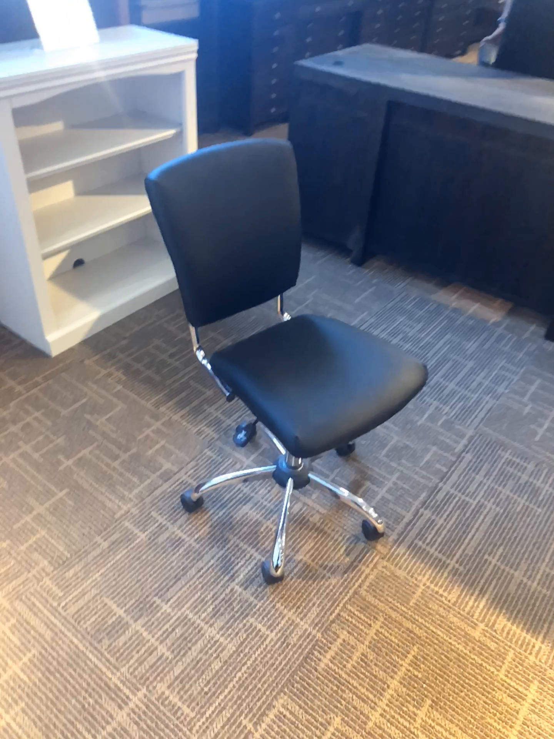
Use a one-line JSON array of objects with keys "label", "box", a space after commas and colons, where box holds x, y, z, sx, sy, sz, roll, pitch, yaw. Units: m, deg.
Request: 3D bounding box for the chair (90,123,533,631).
[{"label": "chair", "box": [0.036, -0.012, 1.398, 0.575, 0.826, 0.609, -27, 48, -33]}]
